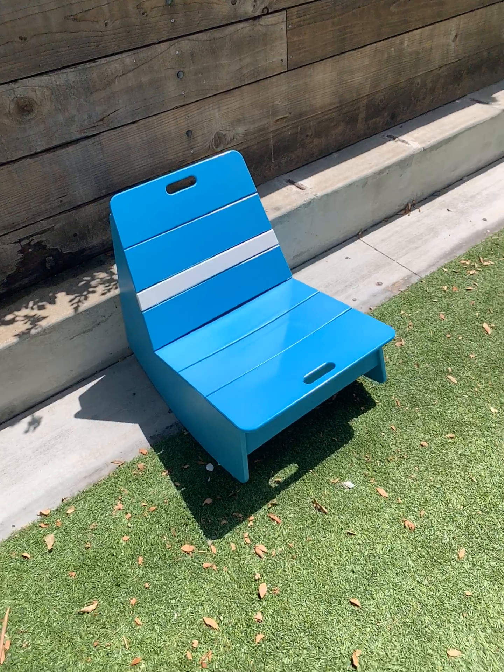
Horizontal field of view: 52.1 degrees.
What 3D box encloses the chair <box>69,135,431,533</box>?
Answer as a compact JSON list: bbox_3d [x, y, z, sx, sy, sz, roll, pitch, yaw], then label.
[{"bbox_3d":[-0.028,-0.030,1.540,0.590,0.746,0.723,-28,50,-23],"label":"chair"}]
